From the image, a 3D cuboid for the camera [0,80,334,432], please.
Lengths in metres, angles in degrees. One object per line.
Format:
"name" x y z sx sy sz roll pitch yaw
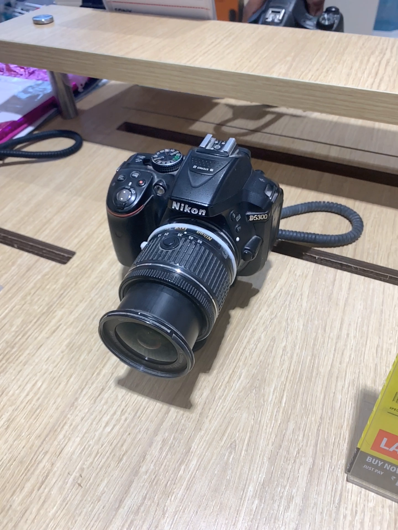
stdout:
"camera" -0.009 -0.027 0.305 0.160 0.120 0.211 14 48 16
